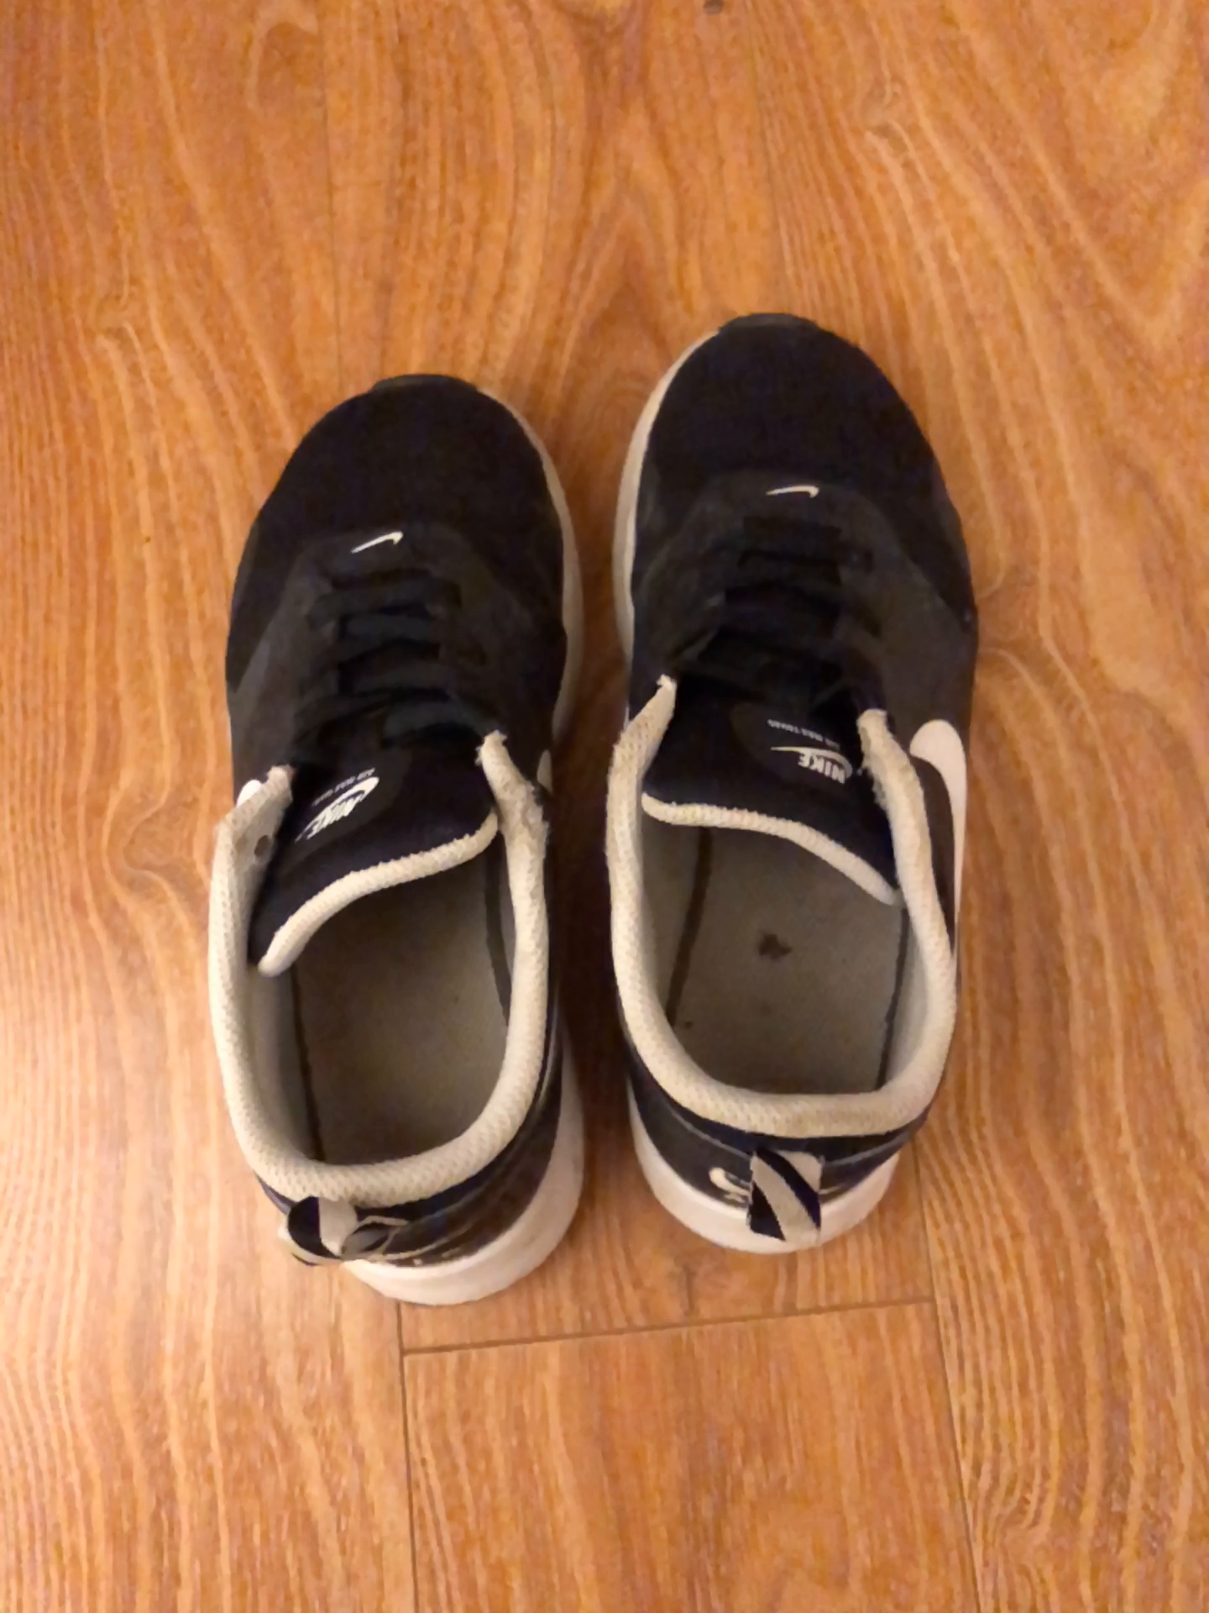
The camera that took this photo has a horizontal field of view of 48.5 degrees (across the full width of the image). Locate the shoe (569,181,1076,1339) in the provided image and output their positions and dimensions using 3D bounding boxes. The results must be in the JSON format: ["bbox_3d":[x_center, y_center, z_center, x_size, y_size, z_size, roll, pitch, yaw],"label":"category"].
[{"bbox_3d":[0.045,-0.012,0.302,0.090,0.080,0.230,2,78,2],"label":"shoe"}]

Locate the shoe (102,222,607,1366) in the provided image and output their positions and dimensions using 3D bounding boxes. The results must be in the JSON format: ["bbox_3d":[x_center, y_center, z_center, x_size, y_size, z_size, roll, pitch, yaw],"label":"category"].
[{"bbox_3d":[-0.050,-0.004,0.307,0.090,0.080,0.230,-2,78,2],"label":"shoe"}]
